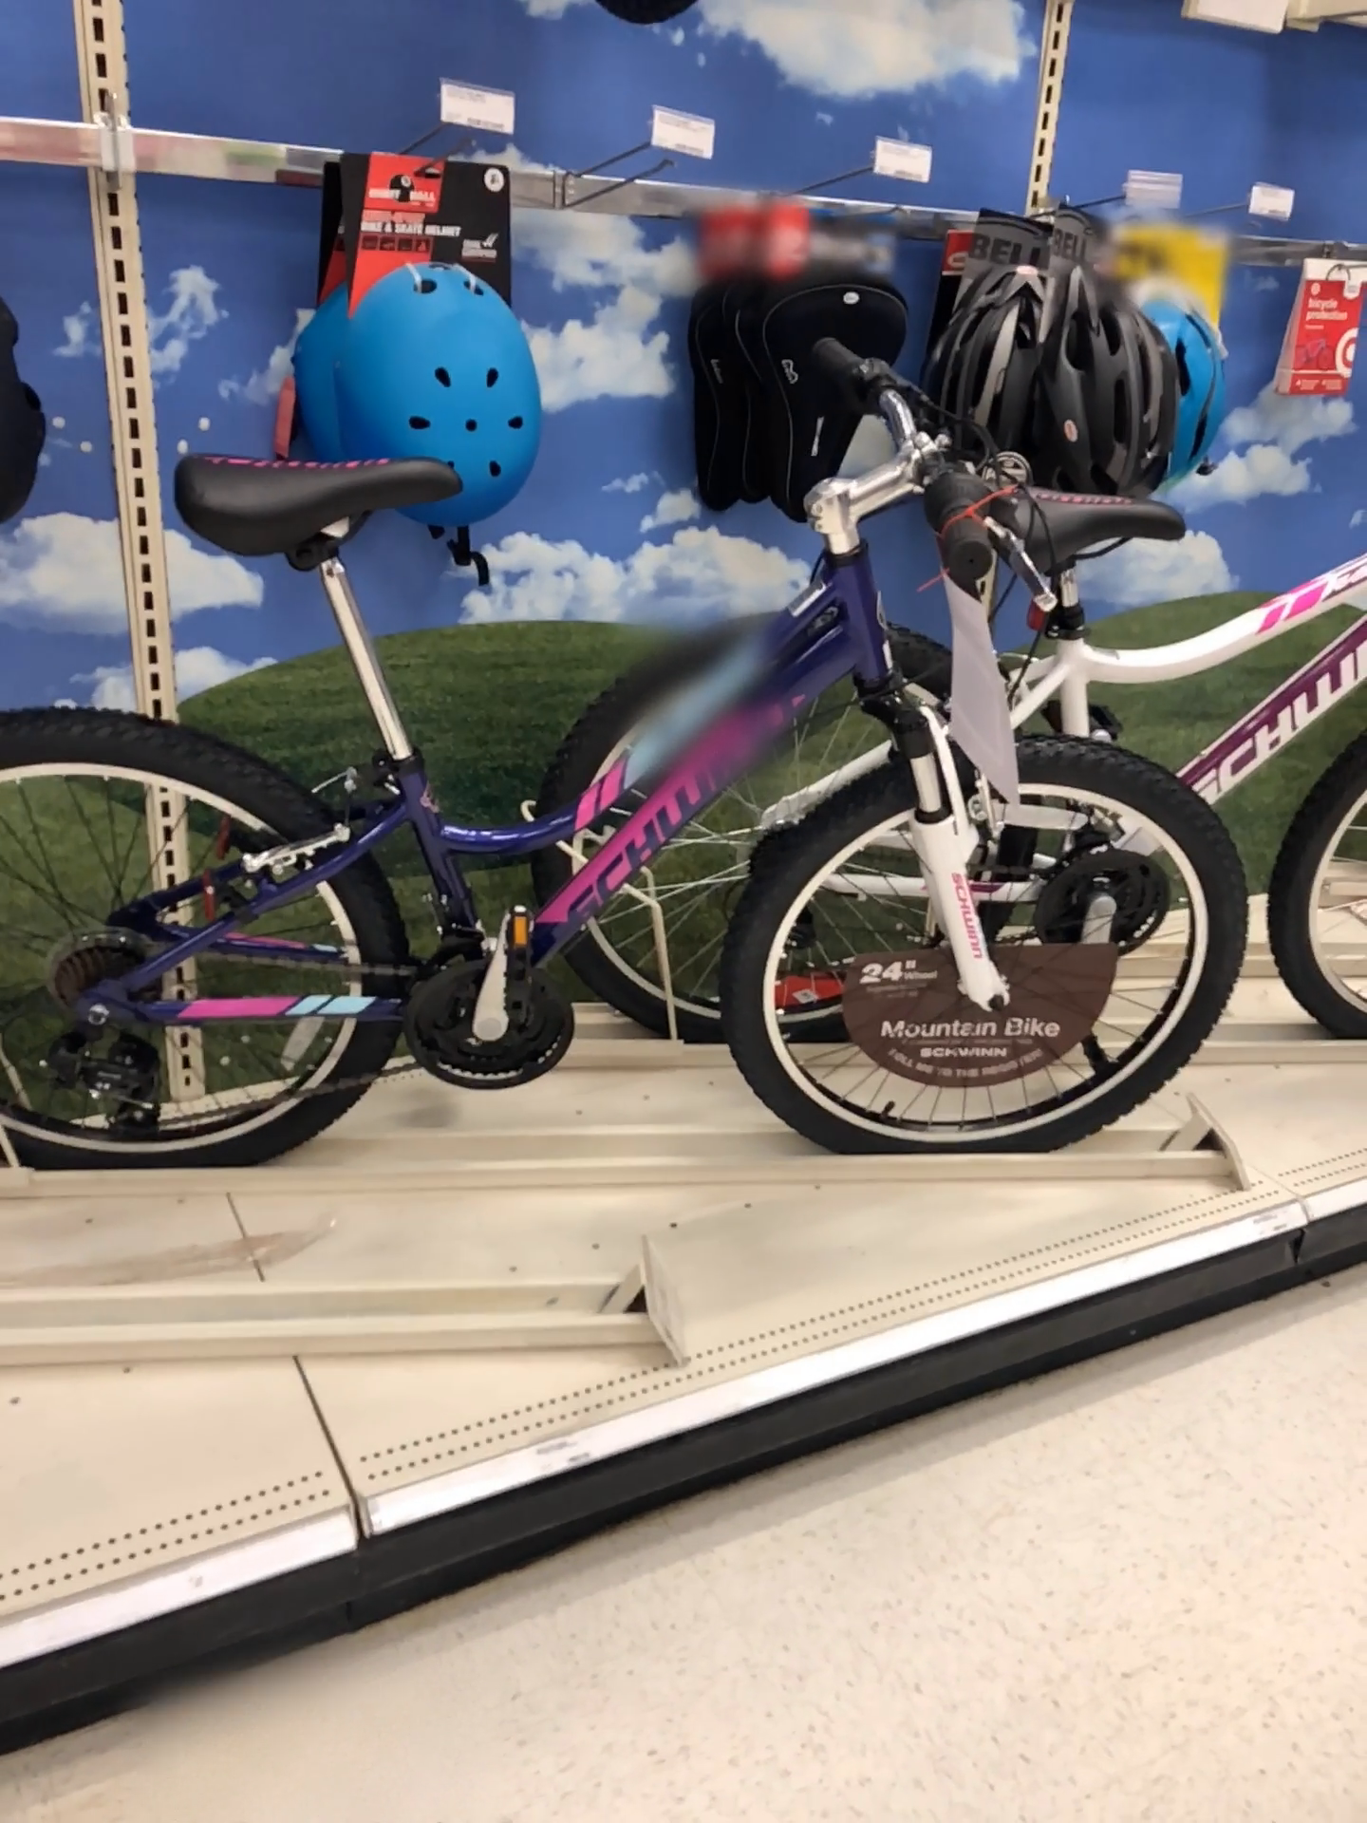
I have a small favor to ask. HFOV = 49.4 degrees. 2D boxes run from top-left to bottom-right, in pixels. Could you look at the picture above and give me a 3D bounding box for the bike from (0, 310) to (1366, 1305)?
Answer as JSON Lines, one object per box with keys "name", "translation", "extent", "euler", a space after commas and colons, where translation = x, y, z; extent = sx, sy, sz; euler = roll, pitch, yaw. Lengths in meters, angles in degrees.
{"name": "bike", "translation": [-0.005, -0.134, 1.451], "extent": [1.222, 0.799, 0.570], "euler": [2, 22, -2]}
